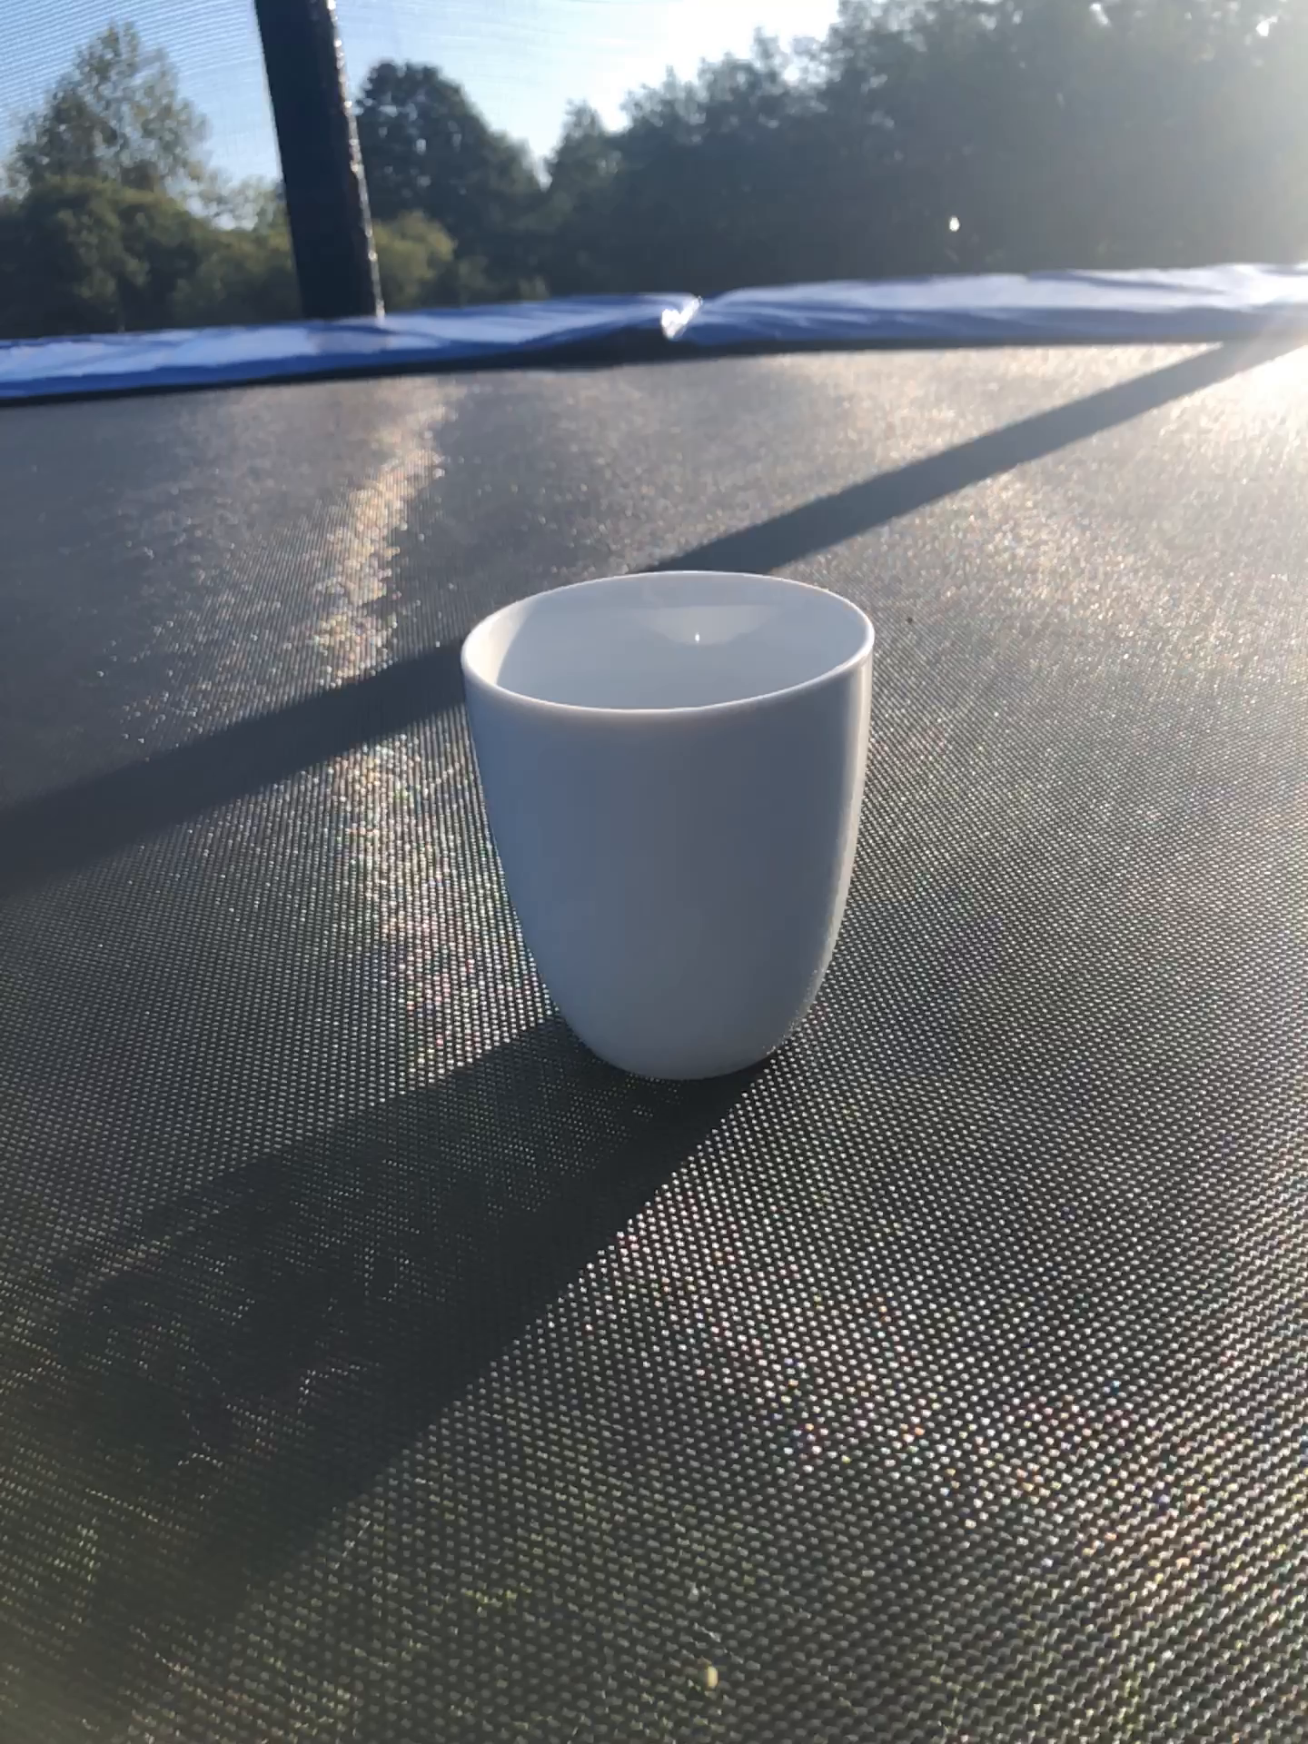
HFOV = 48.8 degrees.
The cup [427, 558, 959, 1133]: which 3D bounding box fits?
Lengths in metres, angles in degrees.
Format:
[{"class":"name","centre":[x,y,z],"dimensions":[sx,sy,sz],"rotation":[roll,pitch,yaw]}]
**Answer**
[{"class":"cup","centre":[0.001,-0.013,0.337],"dimensions":[0.100,0.089,0.111],"rotation":[-4,26,-7]}]
